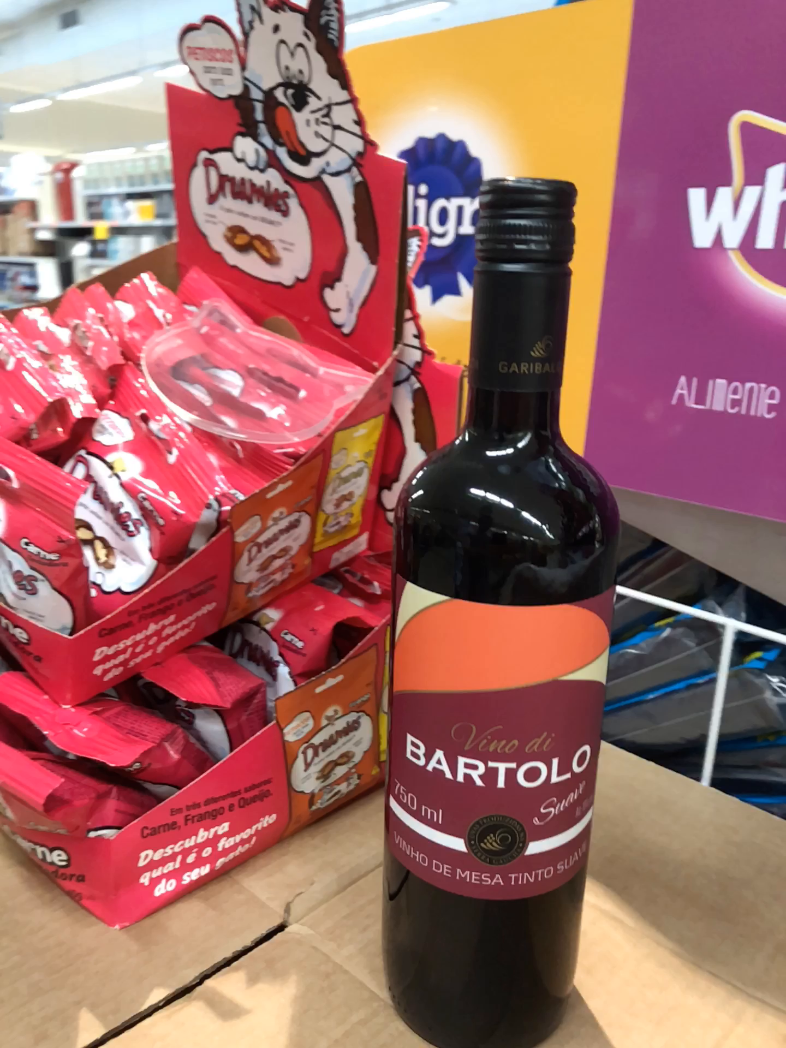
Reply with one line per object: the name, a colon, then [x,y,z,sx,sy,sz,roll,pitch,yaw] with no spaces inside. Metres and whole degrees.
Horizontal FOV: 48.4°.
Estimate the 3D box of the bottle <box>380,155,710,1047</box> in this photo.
bottle: [0.042,0.039,0.297,0.080,0.298,0.060,3,16,6]
